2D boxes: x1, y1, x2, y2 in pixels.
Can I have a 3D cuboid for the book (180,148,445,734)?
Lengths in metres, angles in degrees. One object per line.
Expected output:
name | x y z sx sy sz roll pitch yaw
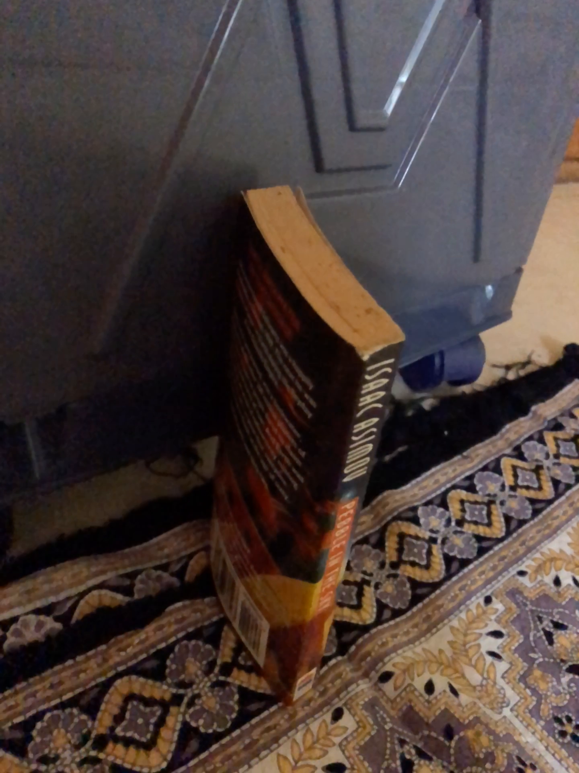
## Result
book | -0.011 0.019 0.271 0.030 0.189 0.150 -8 37 -21
